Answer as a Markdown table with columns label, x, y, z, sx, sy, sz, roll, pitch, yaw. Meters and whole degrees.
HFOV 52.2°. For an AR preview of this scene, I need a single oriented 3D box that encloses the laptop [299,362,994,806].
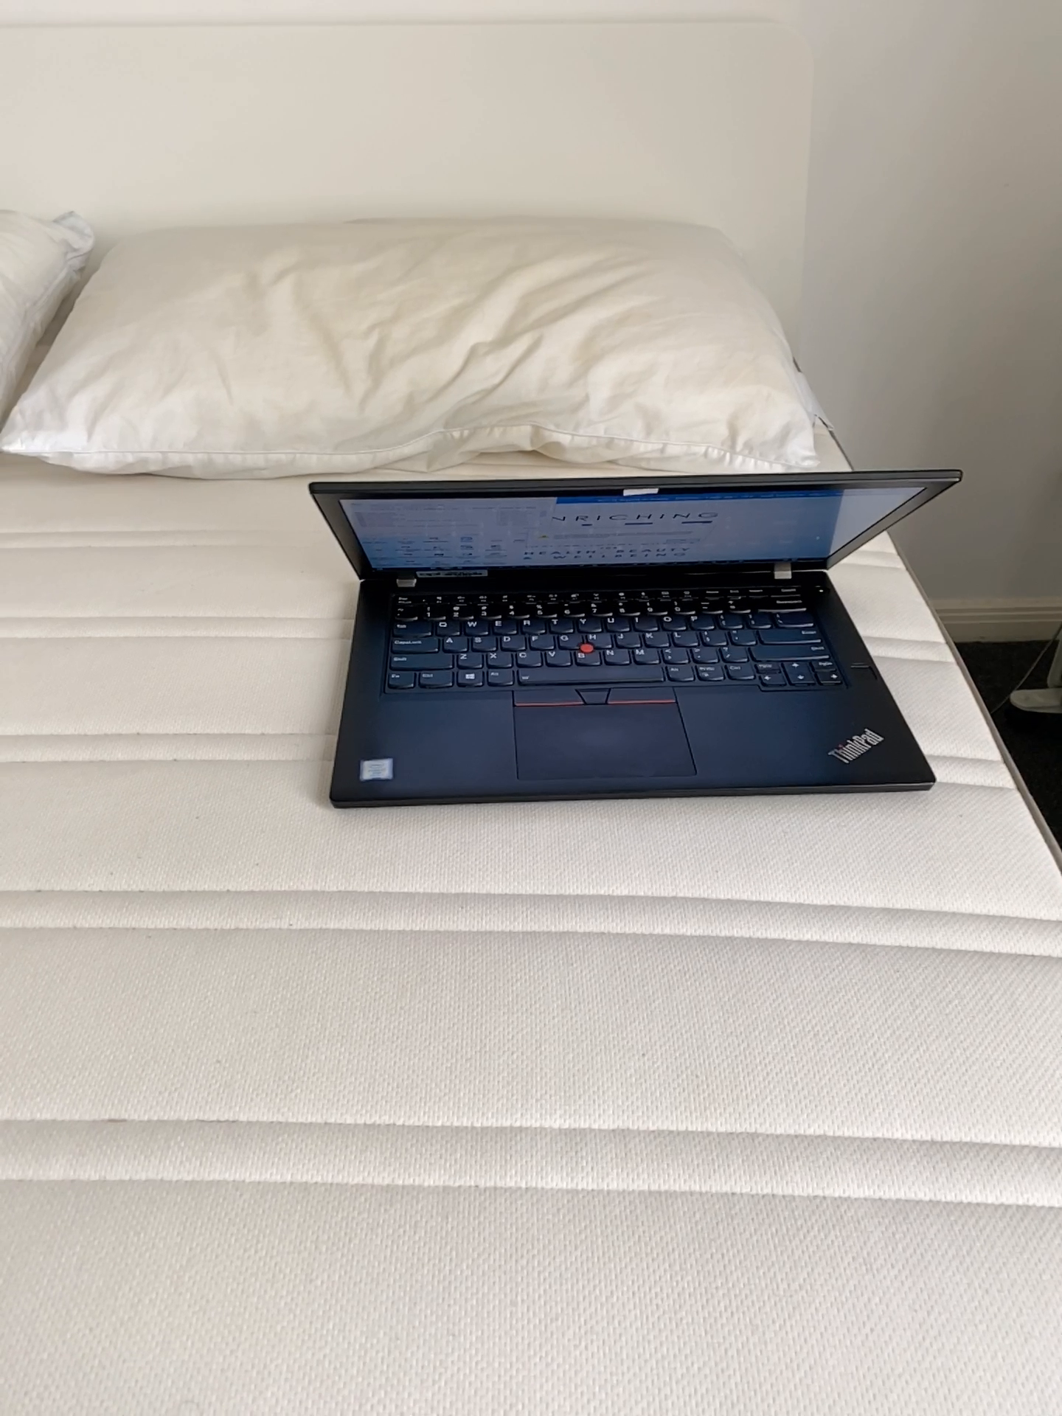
| label | x | y | z | sx | sy | sz | roll | pitch | yaw |
| --- | --- | --- | --- | --- | --- | --- | --- | --- | --- |
| laptop | 0.051 | -0.083 | 0.632 | 0.324 | 0.150 | 0.221 | -2 | 38 | -3 |
